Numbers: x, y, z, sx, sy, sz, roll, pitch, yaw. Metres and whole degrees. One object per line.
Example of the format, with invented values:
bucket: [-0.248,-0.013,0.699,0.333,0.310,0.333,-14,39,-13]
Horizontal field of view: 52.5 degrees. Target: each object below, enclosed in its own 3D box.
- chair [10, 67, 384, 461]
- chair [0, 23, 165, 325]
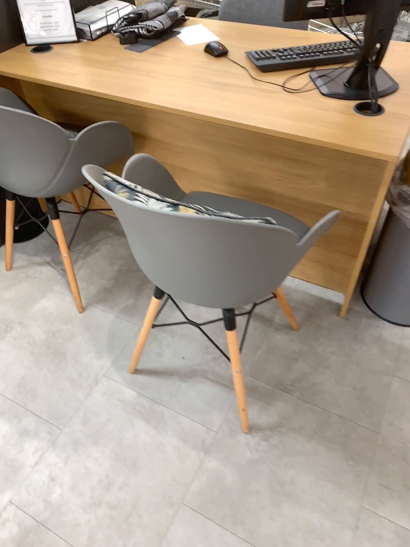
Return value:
chair: [0.023,-0.015,1.175,0.599,0.809,0.550,21,52,21]
chair: [-0.587,-0.360,1.544,0.589,0.809,0.550,21,52,21]
